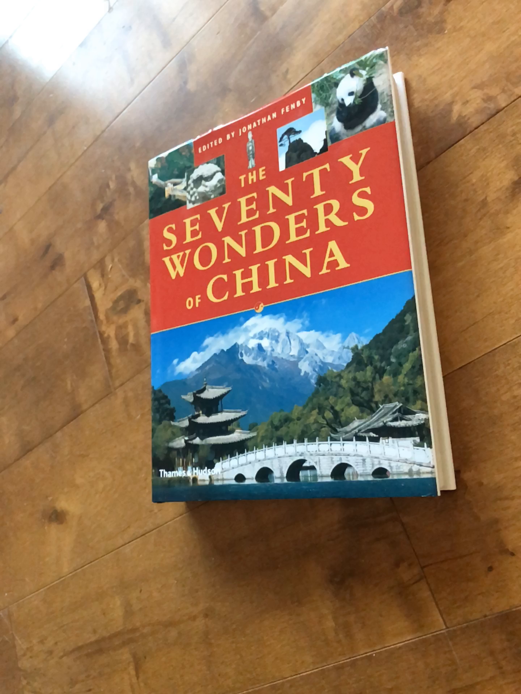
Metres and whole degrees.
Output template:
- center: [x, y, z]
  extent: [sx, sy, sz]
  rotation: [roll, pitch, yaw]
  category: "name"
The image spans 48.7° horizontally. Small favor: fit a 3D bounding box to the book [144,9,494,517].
- center: [0.017, -0.037, 0.390]
  extent: [0.221, 0.050, 0.290]
  rotation: [-12, 74, 34]
  category: "book"
